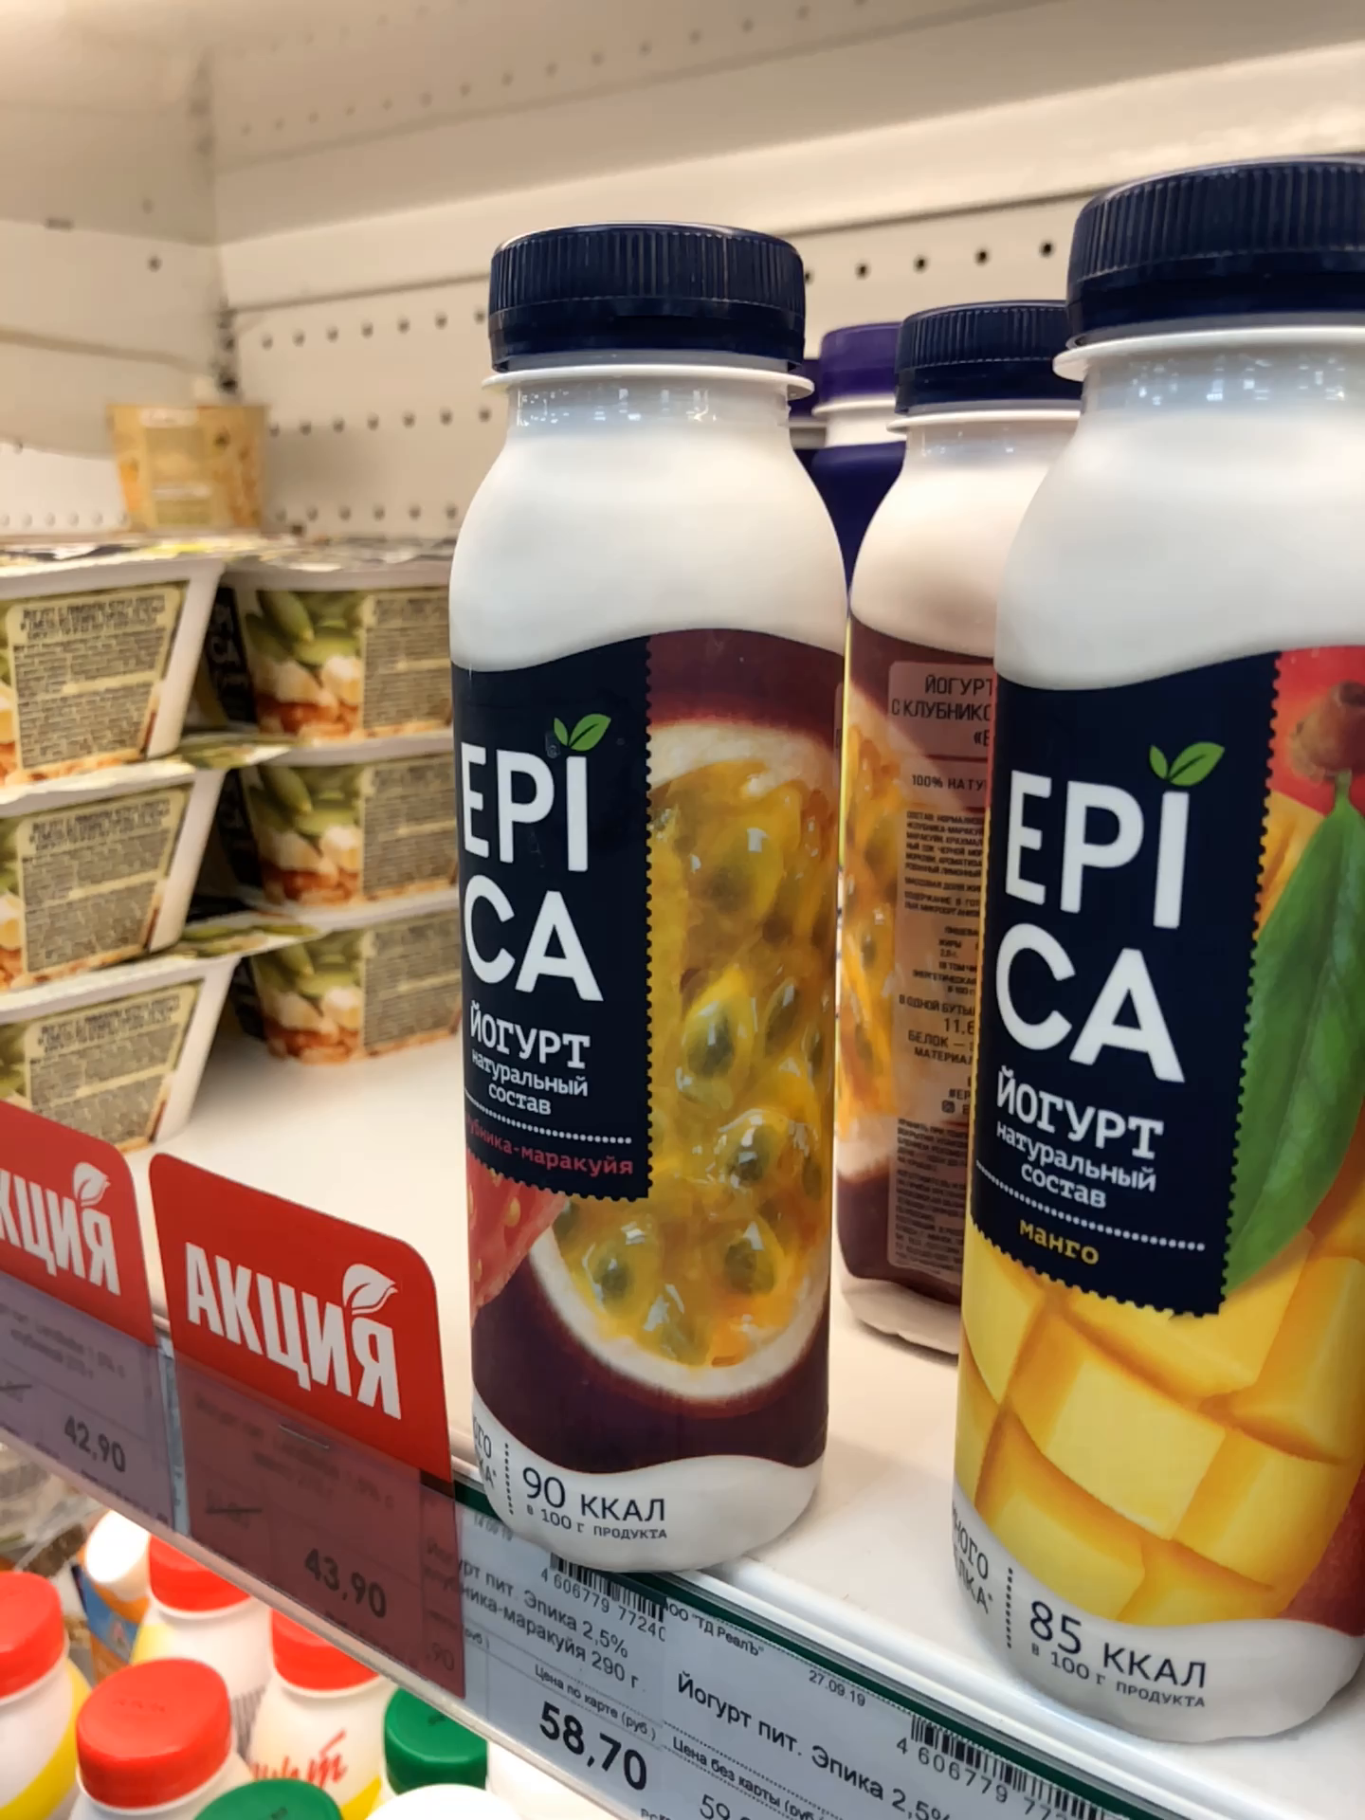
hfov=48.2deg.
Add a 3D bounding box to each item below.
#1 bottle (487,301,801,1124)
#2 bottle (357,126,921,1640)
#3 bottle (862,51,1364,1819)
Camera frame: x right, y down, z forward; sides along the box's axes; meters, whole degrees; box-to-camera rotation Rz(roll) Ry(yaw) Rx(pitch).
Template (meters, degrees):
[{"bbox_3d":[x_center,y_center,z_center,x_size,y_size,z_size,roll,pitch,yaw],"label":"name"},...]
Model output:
[{"bbox_3d":[-0.006,-0.047,0.373,0.053,0.182,0.051,-1,14,0],"label":"bottle"},{"bbox_3d":[-0.003,-0.001,0.211,0.050,0.180,0.050,-1,14,0],"label":"bottle"},{"bbox_3d":[0.059,0.006,0.183,0.051,0.177,0.053,-1,14,0],"label":"bottle"}]
